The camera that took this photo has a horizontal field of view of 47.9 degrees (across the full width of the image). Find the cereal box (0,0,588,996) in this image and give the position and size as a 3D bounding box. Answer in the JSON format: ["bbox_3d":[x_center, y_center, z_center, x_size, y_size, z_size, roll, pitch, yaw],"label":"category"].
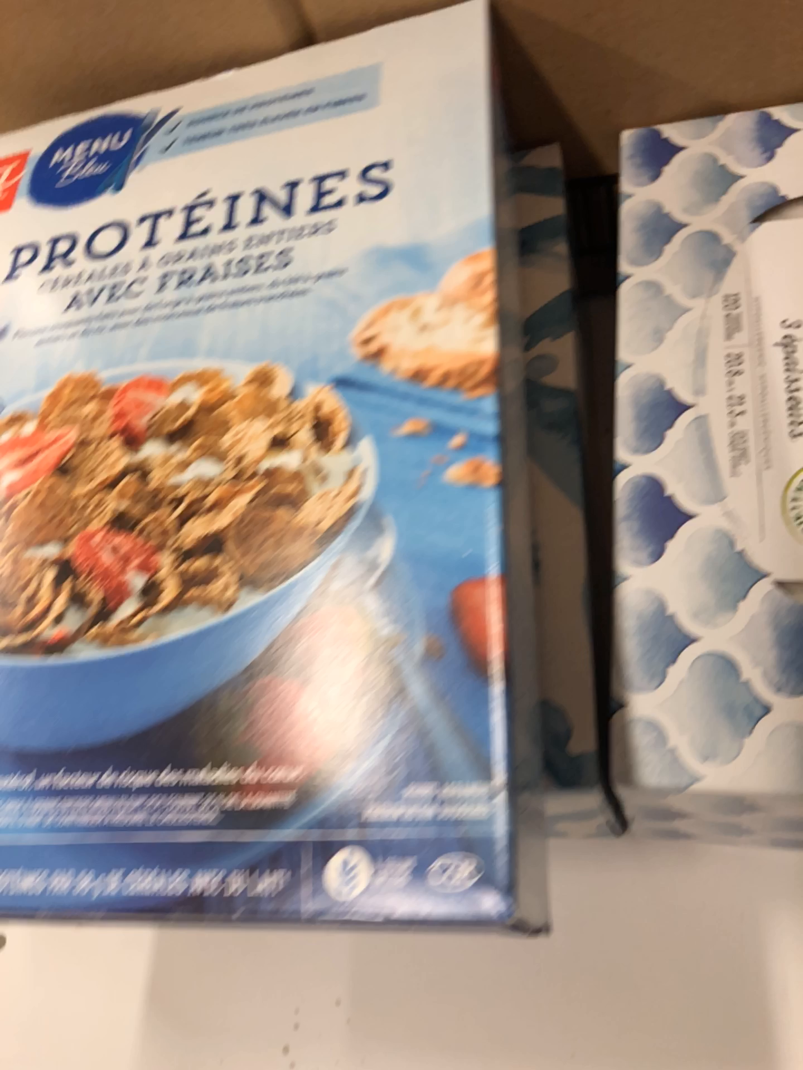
[{"bbox_3d":[-0.060,-0.022,0.236,0.190,0.050,0.250,-8,62,17],"label":"cereal box"}]
